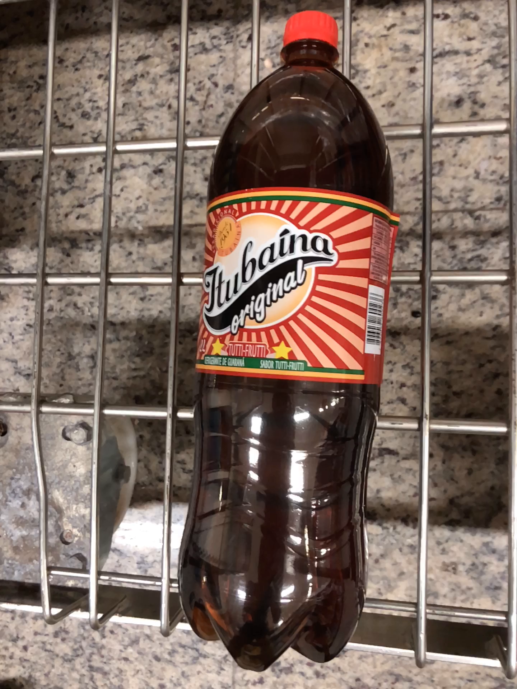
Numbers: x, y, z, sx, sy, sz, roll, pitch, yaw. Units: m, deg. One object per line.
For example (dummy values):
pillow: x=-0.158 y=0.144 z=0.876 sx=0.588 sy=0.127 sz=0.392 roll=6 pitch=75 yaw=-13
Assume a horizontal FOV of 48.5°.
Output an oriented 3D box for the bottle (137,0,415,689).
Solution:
bottle: x=0.012 y=-0.005 z=0.282 sx=0.110 sy=0.070 sz=0.320 roll=2 pitch=91 yaw=13
